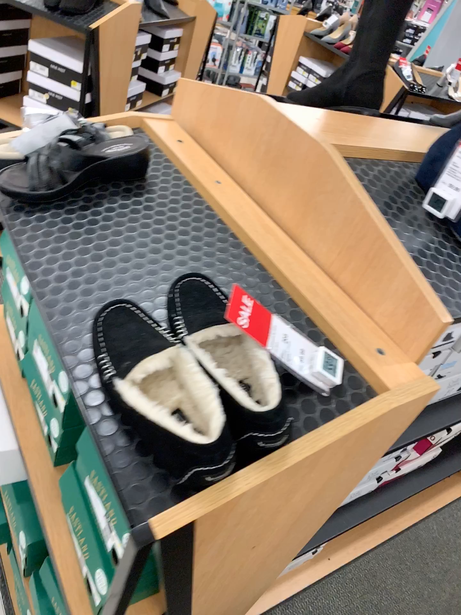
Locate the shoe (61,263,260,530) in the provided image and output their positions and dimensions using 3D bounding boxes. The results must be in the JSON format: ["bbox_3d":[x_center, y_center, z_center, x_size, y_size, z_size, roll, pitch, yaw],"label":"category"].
[{"bbox_3d":[-0.078,0.077,0.484,0.087,0.090,0.251,-26,54,-20],"label":"shoe"}]

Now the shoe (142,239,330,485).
[{"bbox_3d":[-0.006,0.045,0.516,0.086,0.090,0.251,-21,51,-17],"label":"shoe"}]
